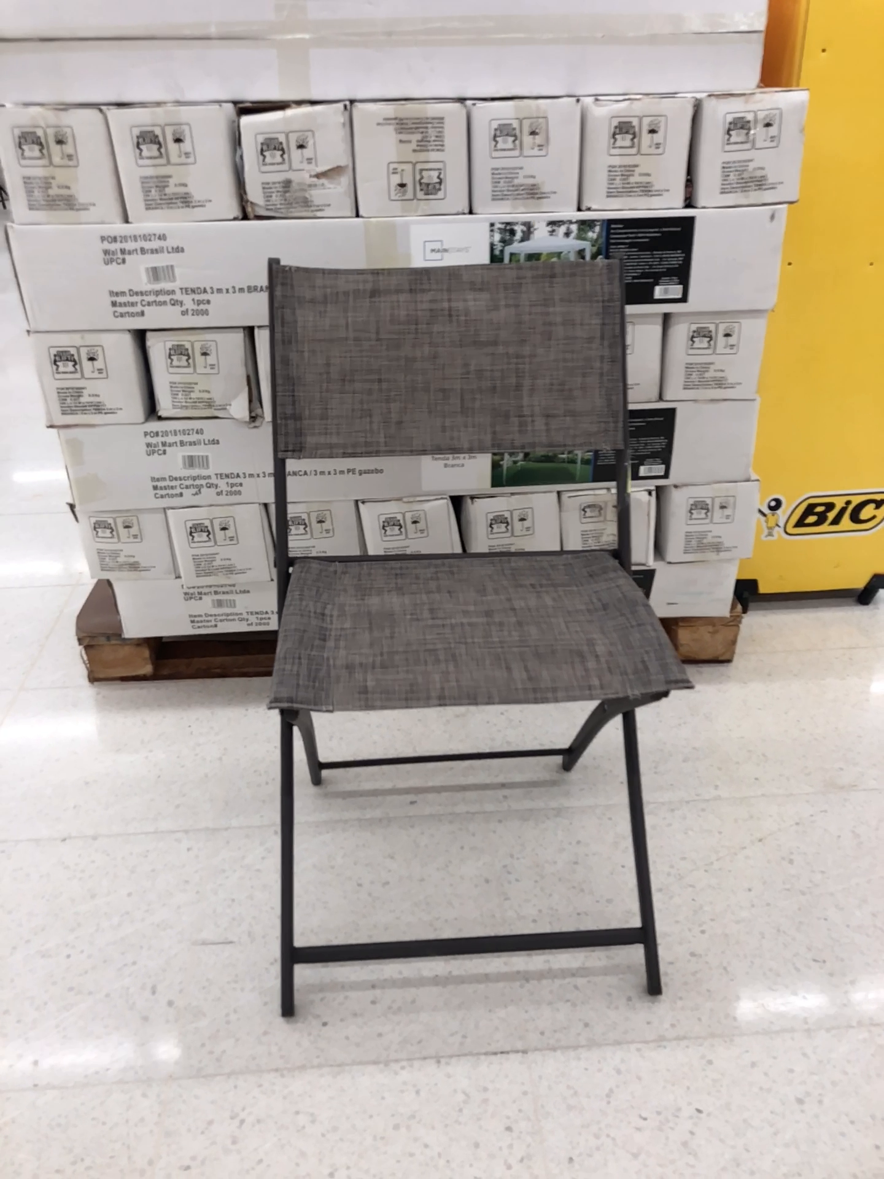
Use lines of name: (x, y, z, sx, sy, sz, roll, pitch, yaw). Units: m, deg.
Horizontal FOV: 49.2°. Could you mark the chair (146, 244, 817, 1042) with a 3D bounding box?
chair: (0.023, 0.038, 1.127, 0.510, 0.754, 0.504, -2, 28, -3)
